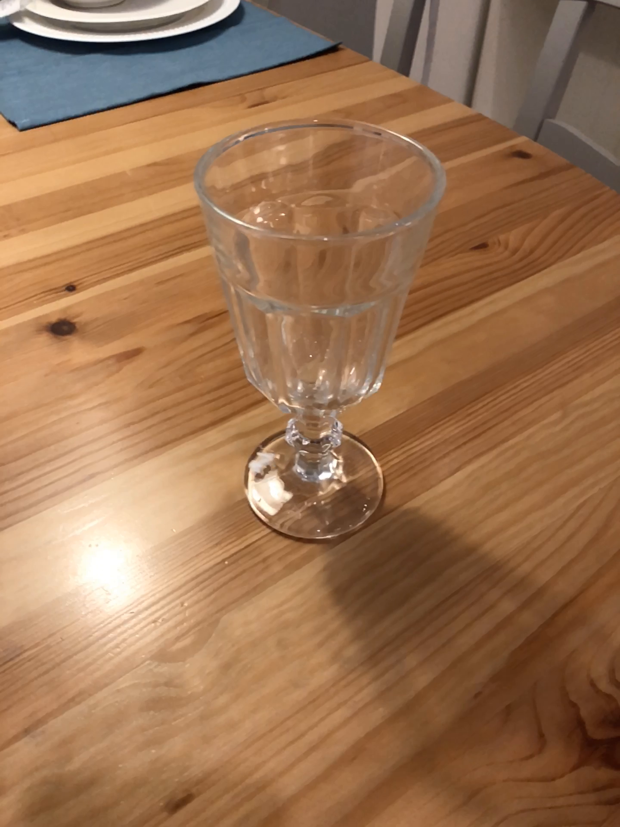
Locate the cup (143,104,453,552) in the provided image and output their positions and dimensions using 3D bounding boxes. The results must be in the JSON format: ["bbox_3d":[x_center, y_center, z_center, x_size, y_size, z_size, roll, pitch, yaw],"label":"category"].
[{"bbox_3d":[-0.001,-0.025,0.256,0.080,0.139,0.080,0,46,0],"label":"cup"}]
